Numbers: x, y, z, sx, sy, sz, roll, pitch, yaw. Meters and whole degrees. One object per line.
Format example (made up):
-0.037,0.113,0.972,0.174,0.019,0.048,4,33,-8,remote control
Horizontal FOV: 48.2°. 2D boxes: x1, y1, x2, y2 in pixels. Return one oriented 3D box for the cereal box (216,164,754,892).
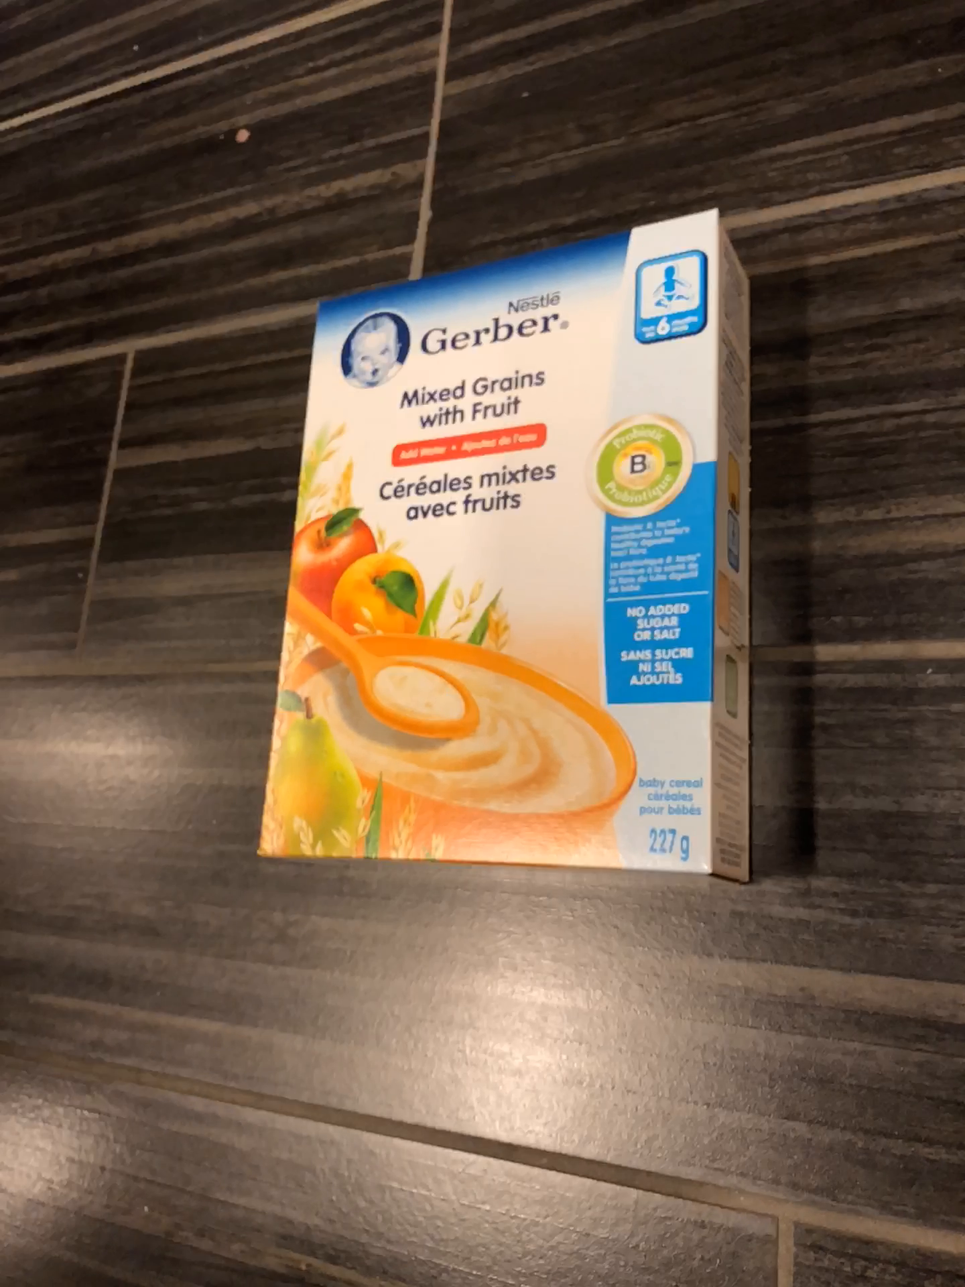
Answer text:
0.003,-0.029,0.337,0.150,0.050,0.200,-4,75,26,cereal box
